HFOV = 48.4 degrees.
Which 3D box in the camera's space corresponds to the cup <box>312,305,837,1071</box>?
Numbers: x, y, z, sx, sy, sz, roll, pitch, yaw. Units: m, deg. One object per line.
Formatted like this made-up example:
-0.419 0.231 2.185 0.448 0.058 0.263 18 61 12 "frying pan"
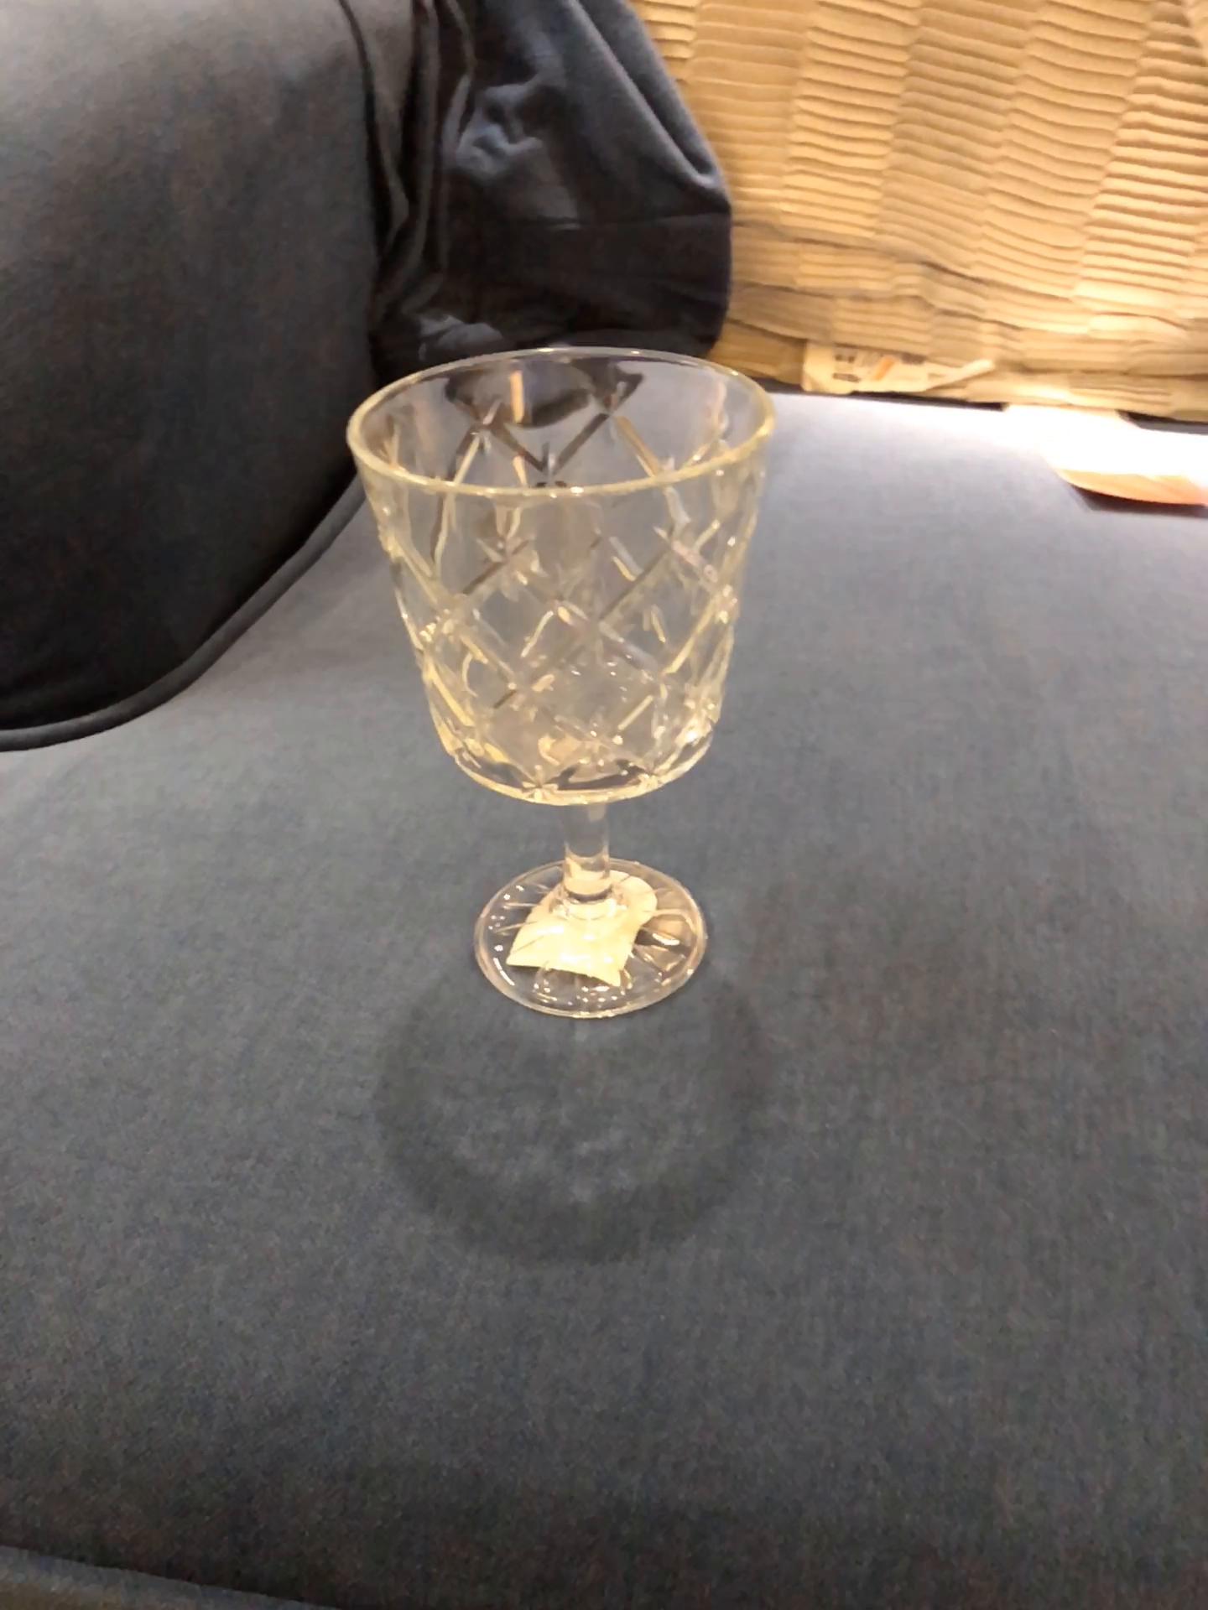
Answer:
-0.009 -0.027 0.306 0.090 0.139 0.090 -1 36 1 "cup"
